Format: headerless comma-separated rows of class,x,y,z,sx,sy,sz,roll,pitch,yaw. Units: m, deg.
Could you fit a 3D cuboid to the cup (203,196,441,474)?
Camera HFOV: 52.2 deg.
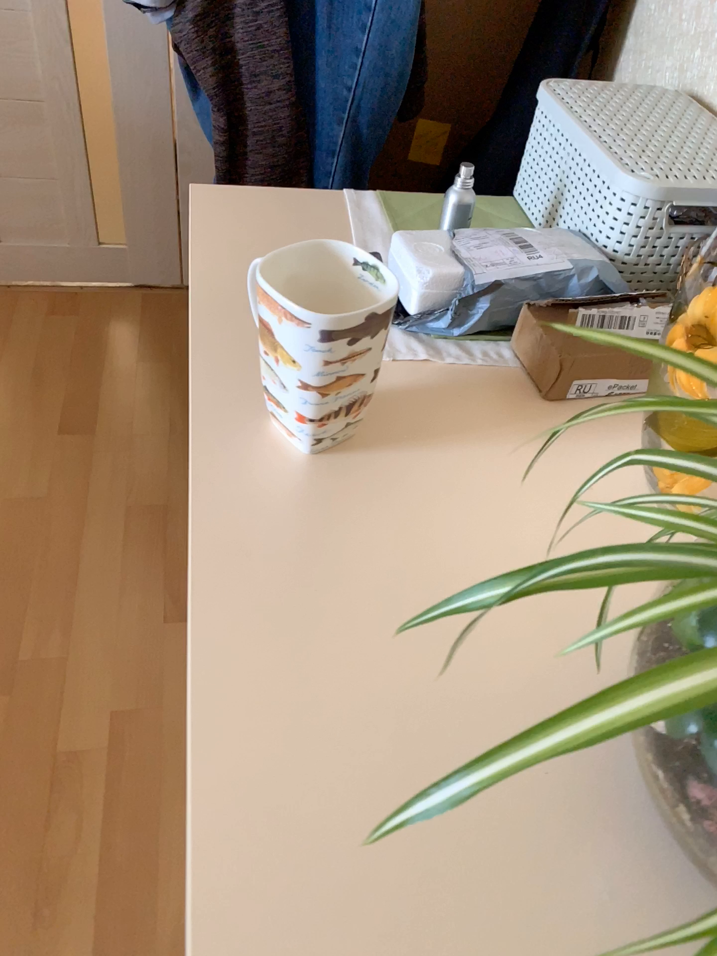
cup,-0.034,-0.110,0.548,0.100,0.129,0.141,-26,55,-31
